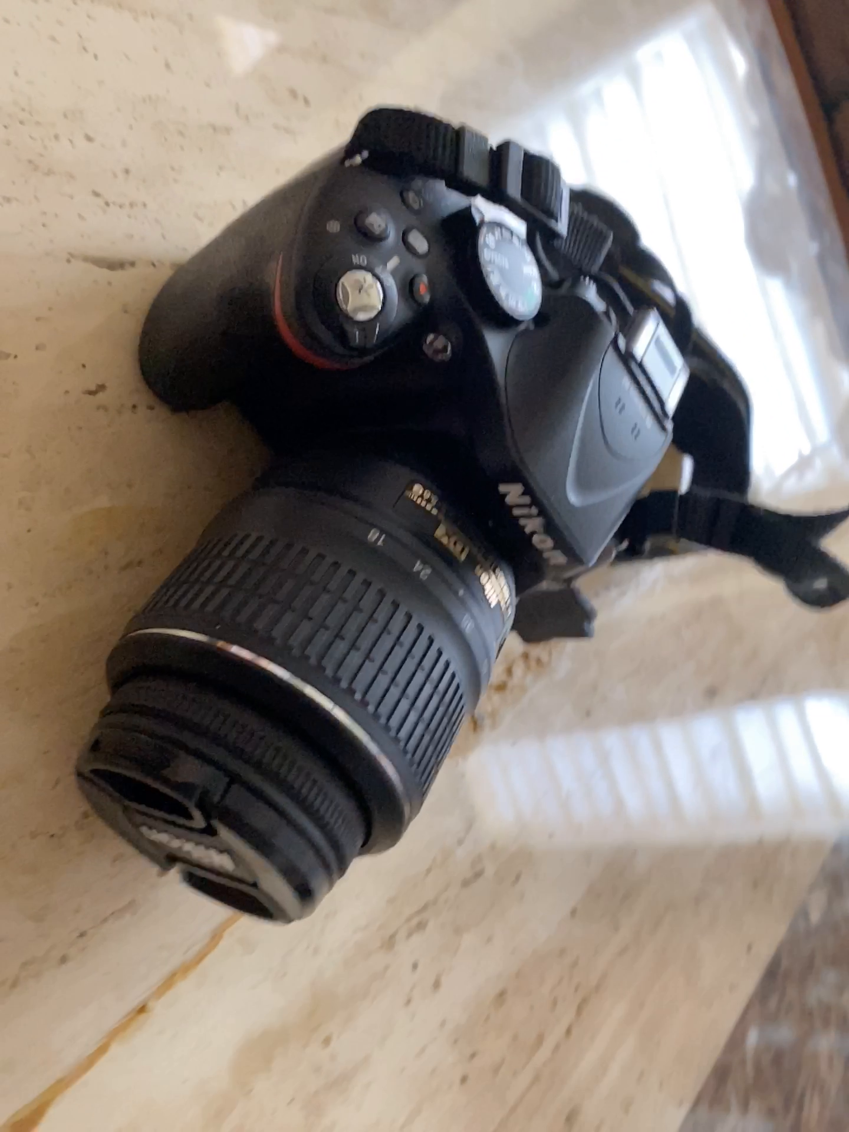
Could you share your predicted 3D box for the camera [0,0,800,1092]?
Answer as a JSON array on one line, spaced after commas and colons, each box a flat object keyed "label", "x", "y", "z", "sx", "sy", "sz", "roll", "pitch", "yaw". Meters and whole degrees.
[{"label": "camera", "x": -0.002, "y": -0.007, "z": 0.203, "sx": 0.152, "sy": 0.099, "sz": 0.160, "roll": 51, "pitch": 45, "yaw": -24}]
